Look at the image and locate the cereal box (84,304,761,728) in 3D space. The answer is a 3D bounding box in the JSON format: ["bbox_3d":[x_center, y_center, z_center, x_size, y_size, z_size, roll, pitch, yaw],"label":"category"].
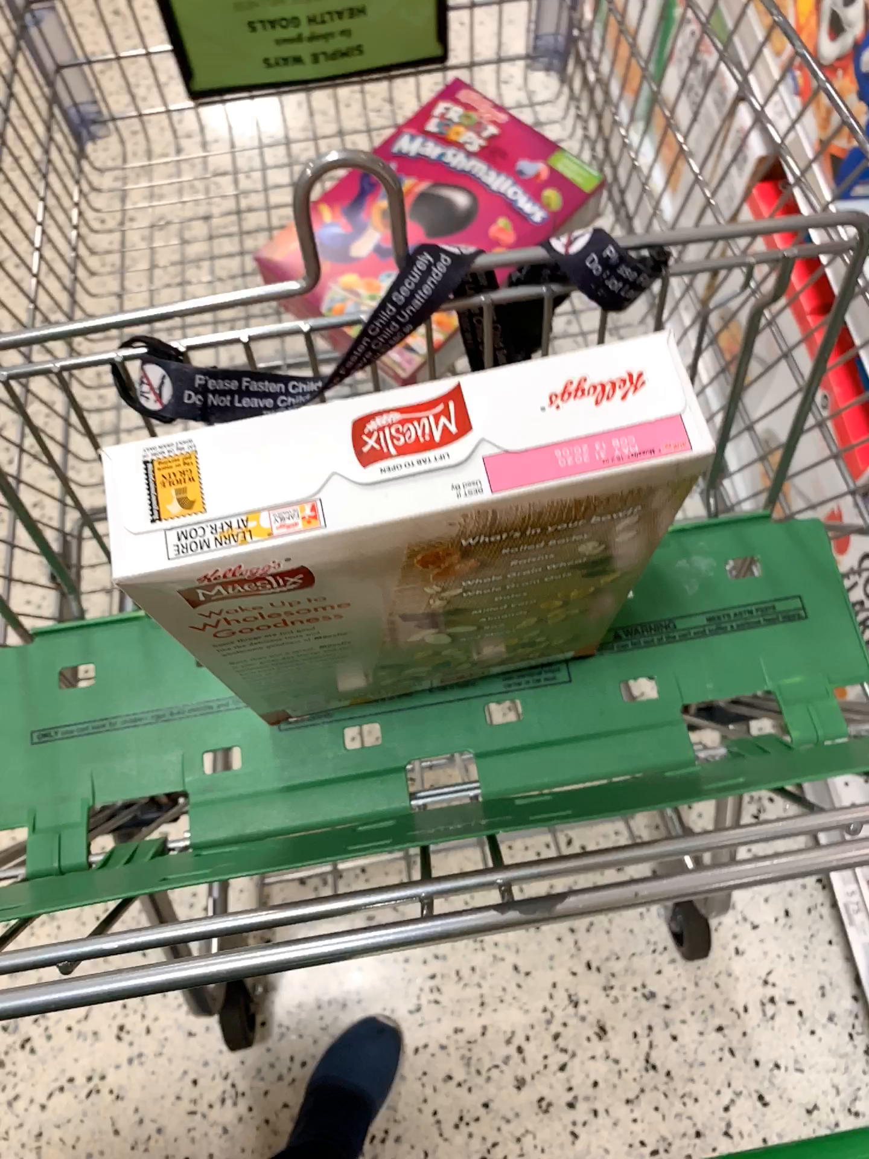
[{"bbox_3d":[-0.003,-0.002,0.378,0.190,0.249,0.050,-11,71,-3],"label":"cereal box"}]
